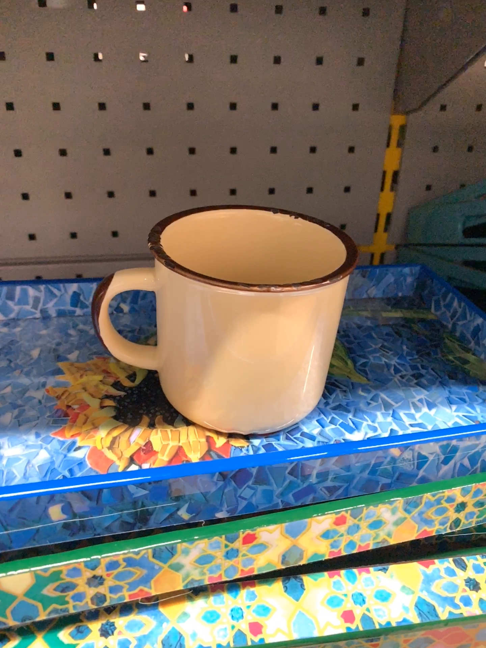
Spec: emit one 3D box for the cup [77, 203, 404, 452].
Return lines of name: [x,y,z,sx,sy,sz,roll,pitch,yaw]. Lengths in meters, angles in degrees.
cup: [-0.007,-0.006,0.223,0.110,0.070,0.090,-2,29,-10]
